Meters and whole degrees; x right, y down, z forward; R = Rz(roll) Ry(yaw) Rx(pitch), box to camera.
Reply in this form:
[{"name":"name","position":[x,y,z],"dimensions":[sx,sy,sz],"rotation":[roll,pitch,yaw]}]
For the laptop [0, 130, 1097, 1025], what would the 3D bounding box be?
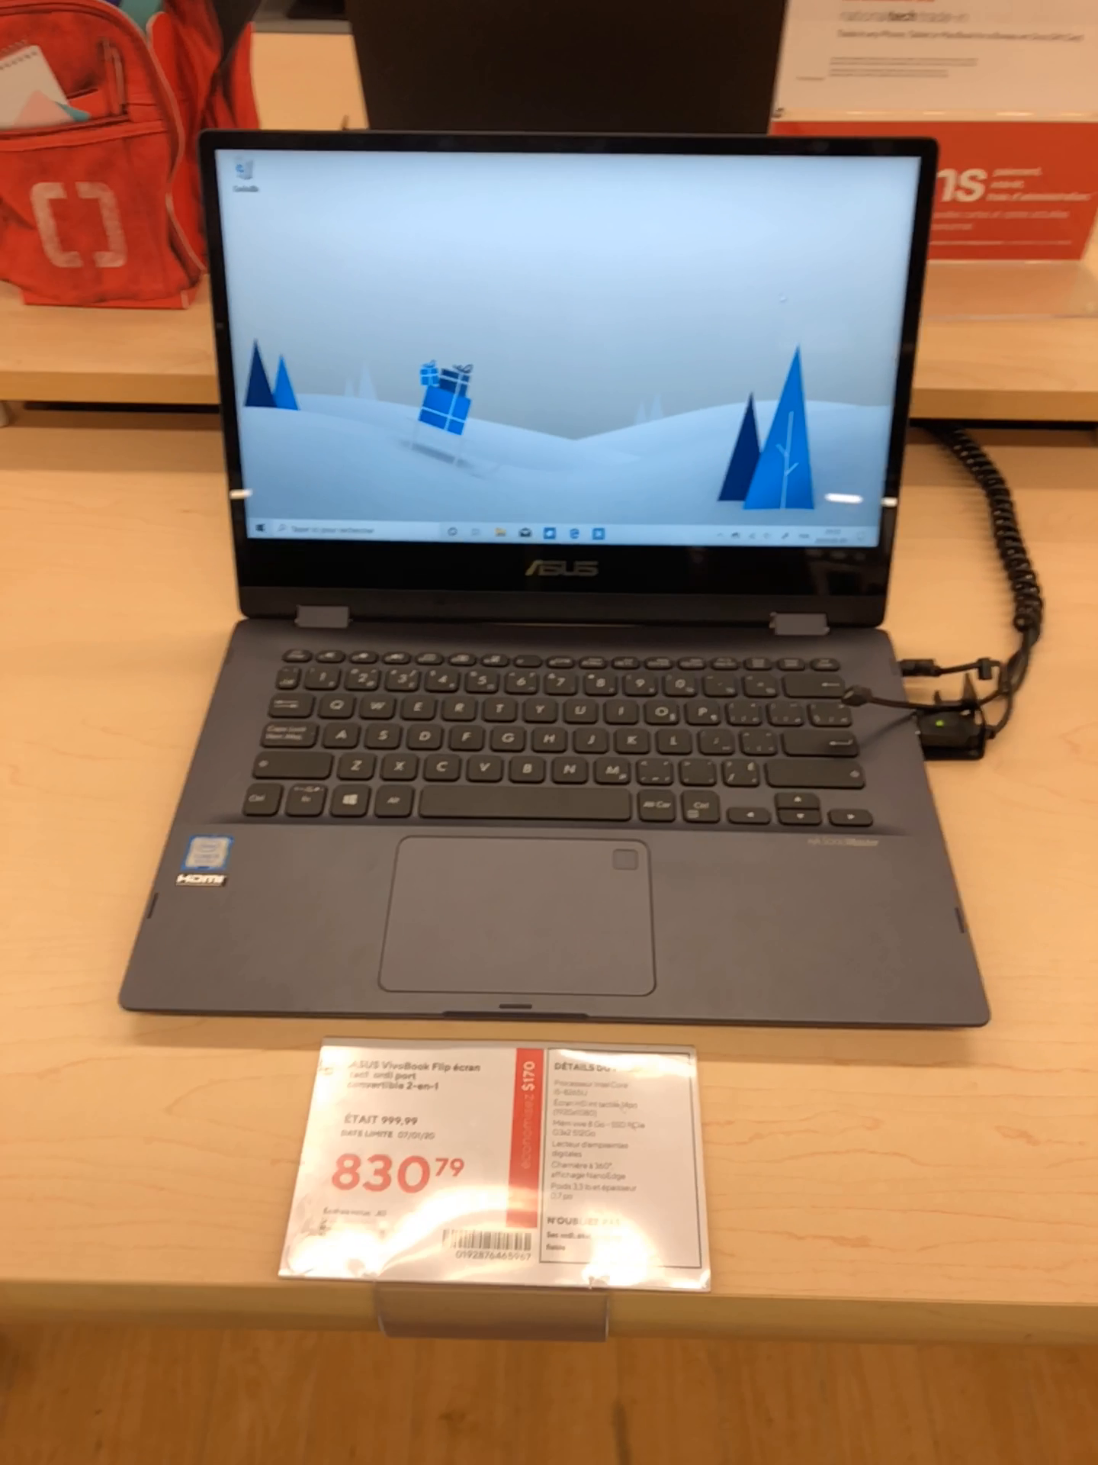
[{"name":"laptop","position":[0.005,-0.078,0.484],"dimensions":[0.312,0.188,0.314],"rotation":[1,47,1]}]
